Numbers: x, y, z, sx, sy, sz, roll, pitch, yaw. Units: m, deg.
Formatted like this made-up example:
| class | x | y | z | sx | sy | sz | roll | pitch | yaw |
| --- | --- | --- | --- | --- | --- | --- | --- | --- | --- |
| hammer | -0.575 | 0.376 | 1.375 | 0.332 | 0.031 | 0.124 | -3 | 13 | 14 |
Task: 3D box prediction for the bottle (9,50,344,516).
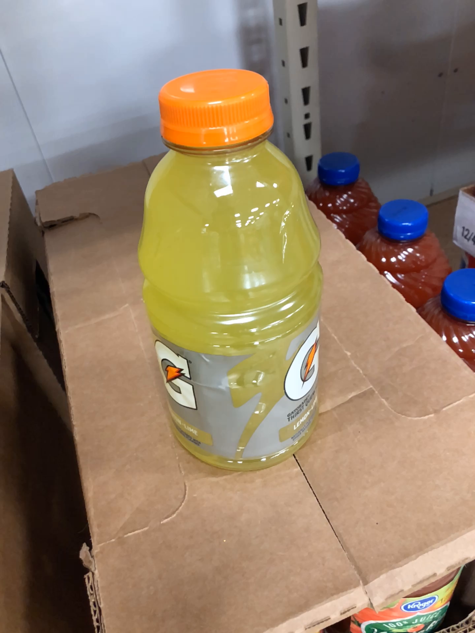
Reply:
| class | x | y | z | sx | sy | sz | roll | pitch | yaw |
| --- | --- | --- | --- | --- | --- | --- | --- | --- | --- |
| bottle | -0.011 | -0.009 | 0.279 | 0.090 | 0.210 | 0.100 | 24 | 51 | 31 |
